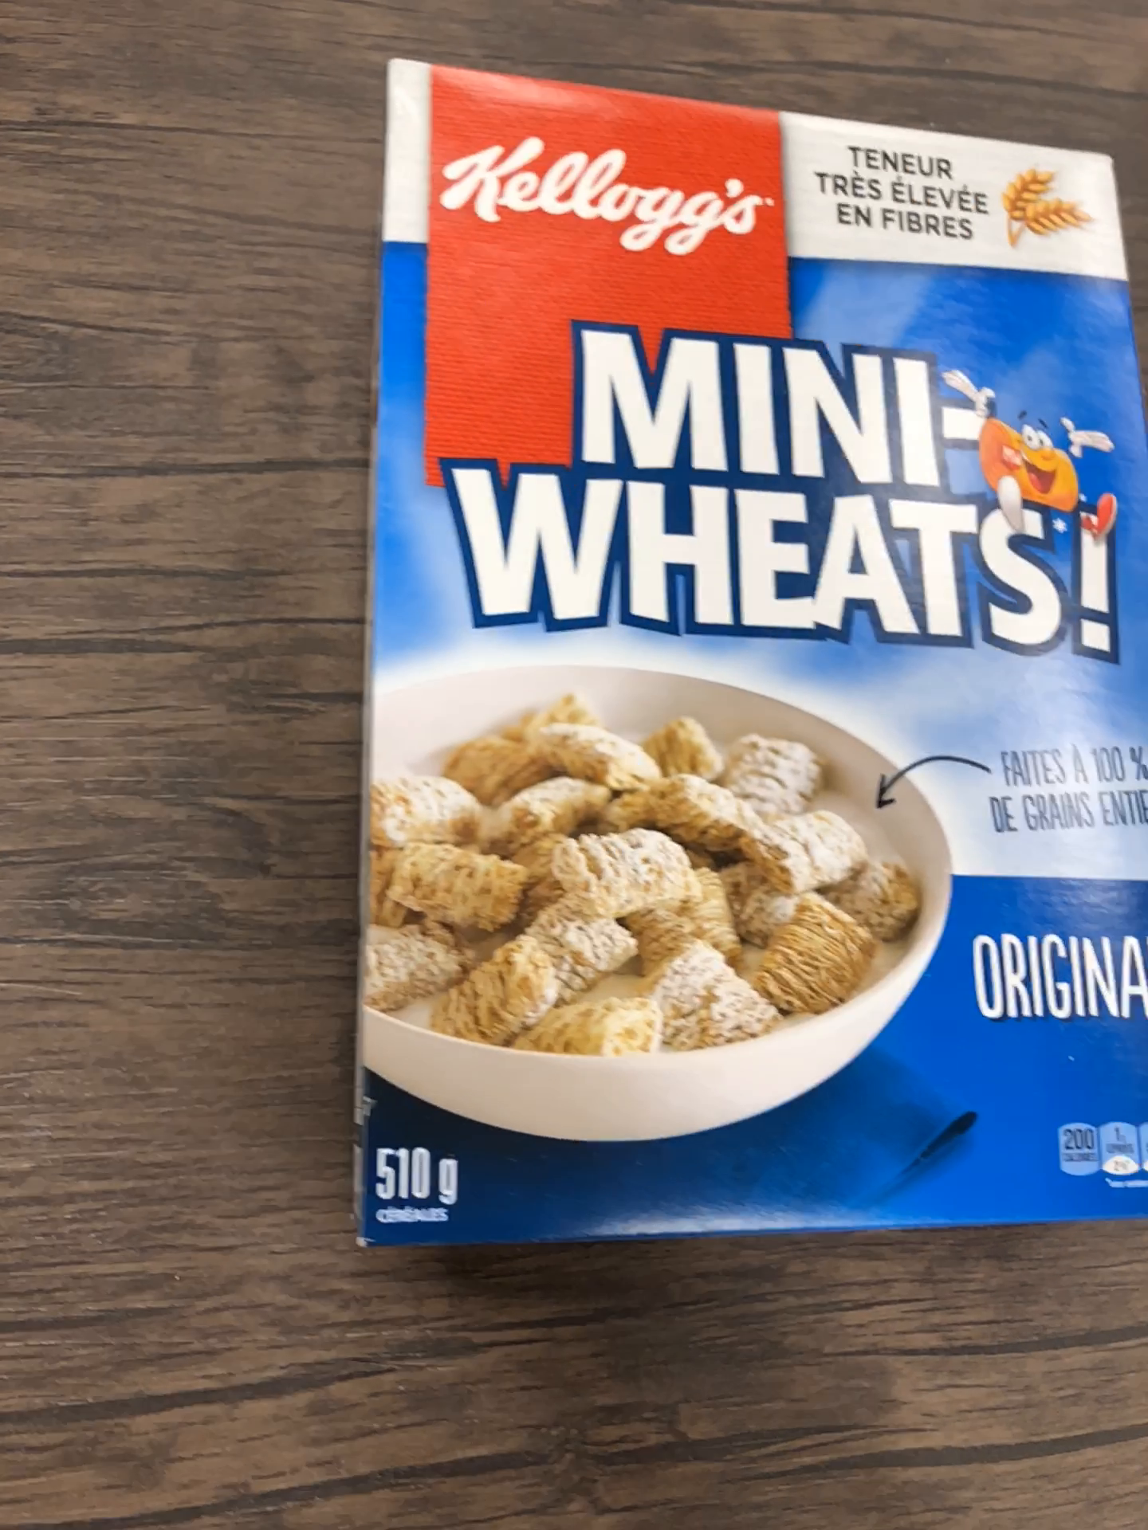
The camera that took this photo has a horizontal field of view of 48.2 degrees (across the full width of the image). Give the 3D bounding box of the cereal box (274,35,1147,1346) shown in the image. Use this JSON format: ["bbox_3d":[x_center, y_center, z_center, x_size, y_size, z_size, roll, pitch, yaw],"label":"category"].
[{"bbox_3d":[0.044,-0.022,0.299,0.210,0.060,0.270,2,74,-11],"label":"cereal box"}]
